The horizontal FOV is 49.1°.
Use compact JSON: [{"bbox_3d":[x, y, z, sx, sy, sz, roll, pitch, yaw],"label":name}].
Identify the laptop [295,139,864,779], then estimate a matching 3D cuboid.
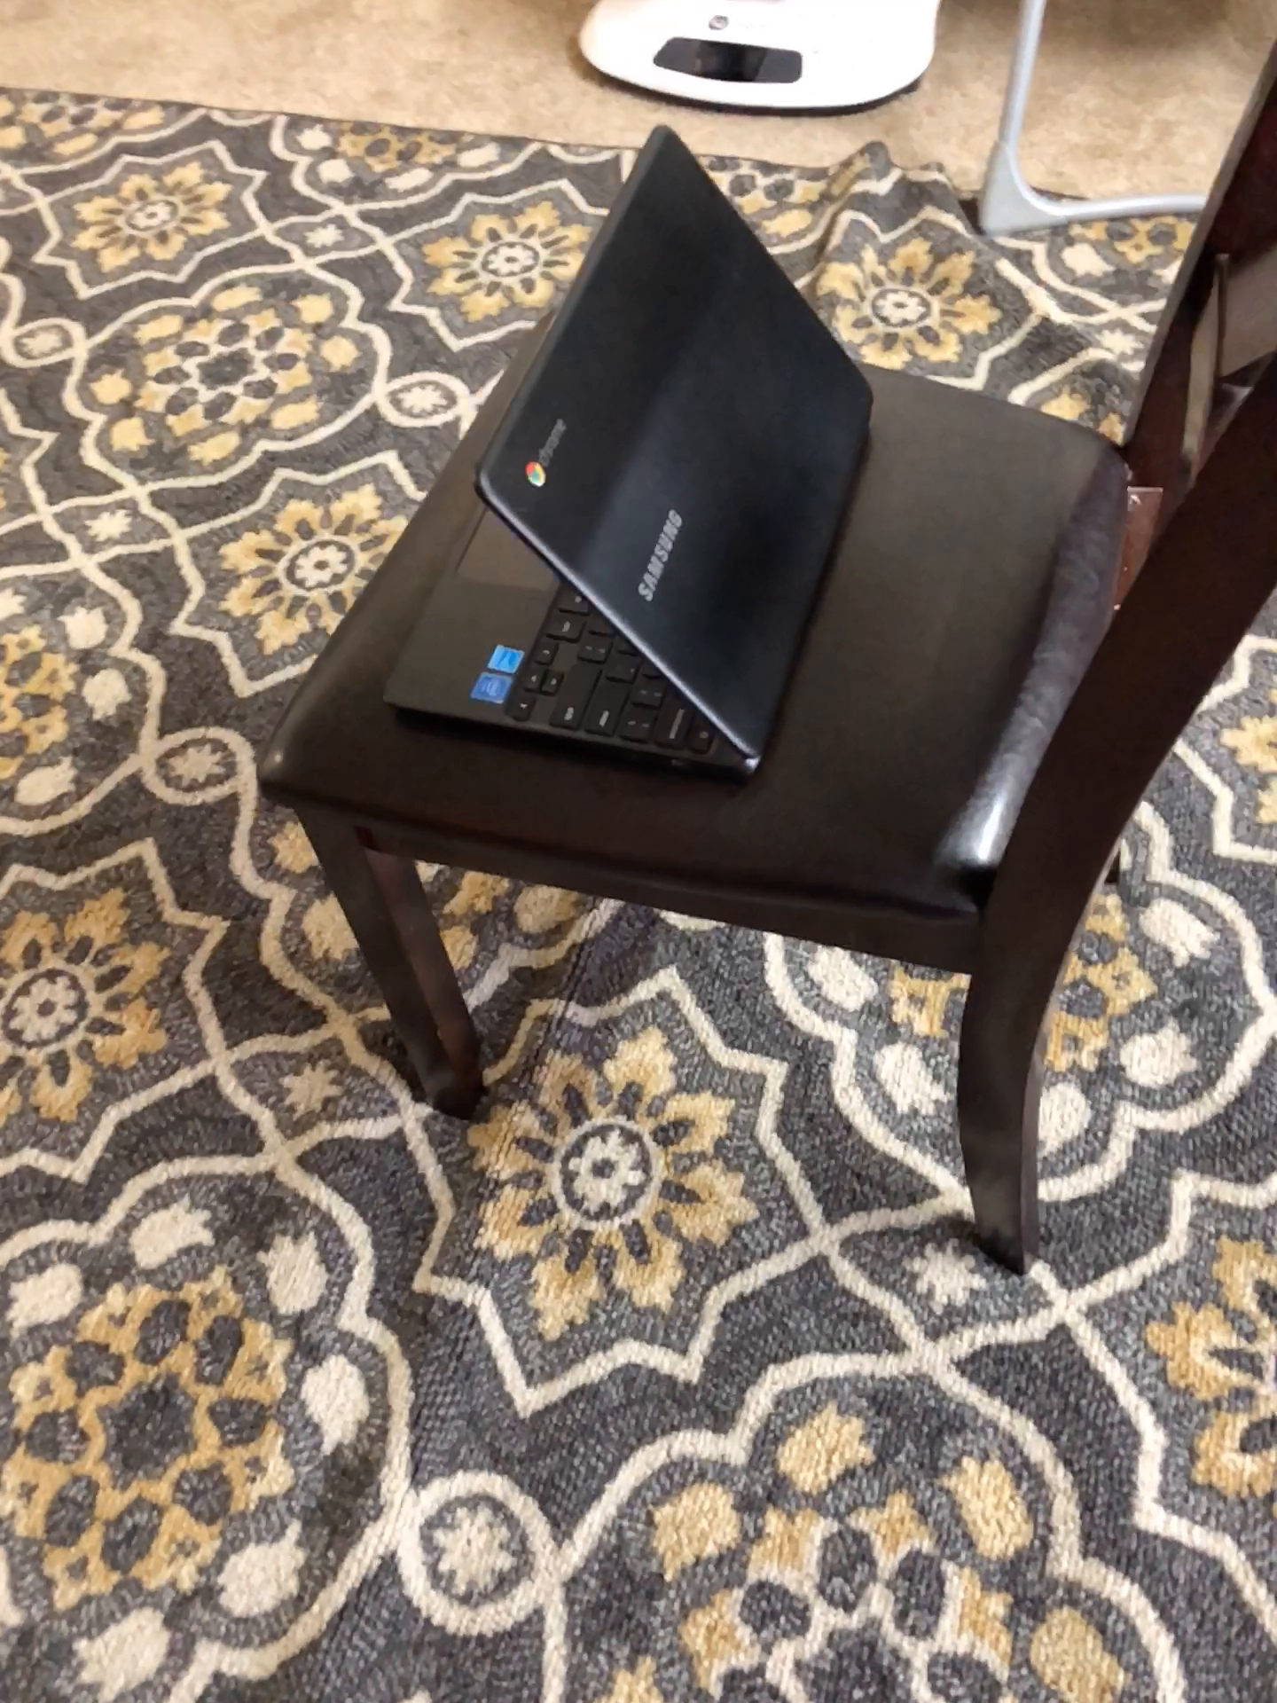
[{"bbox_3d":[-0.011,-0.203,0.703,0.191,0.155,0.263,11,58,14],"label":"laptop"}]
